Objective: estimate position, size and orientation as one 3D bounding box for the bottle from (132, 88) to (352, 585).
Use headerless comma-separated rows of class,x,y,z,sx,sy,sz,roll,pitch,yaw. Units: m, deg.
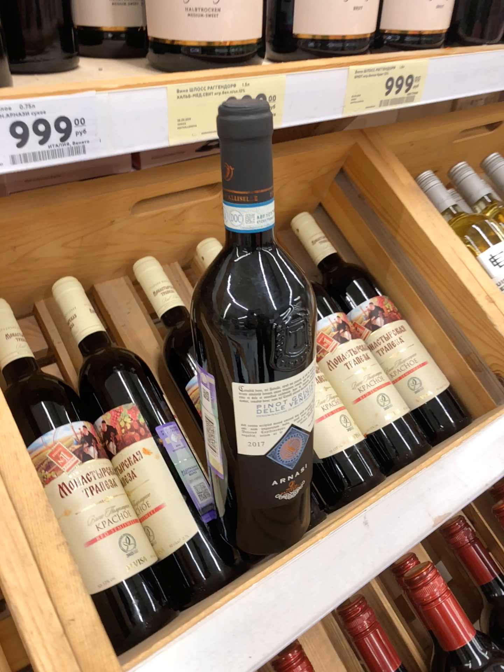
bottle,0.000,0.011,0.377,0.090,0.318,0.080,-21,33,-29
